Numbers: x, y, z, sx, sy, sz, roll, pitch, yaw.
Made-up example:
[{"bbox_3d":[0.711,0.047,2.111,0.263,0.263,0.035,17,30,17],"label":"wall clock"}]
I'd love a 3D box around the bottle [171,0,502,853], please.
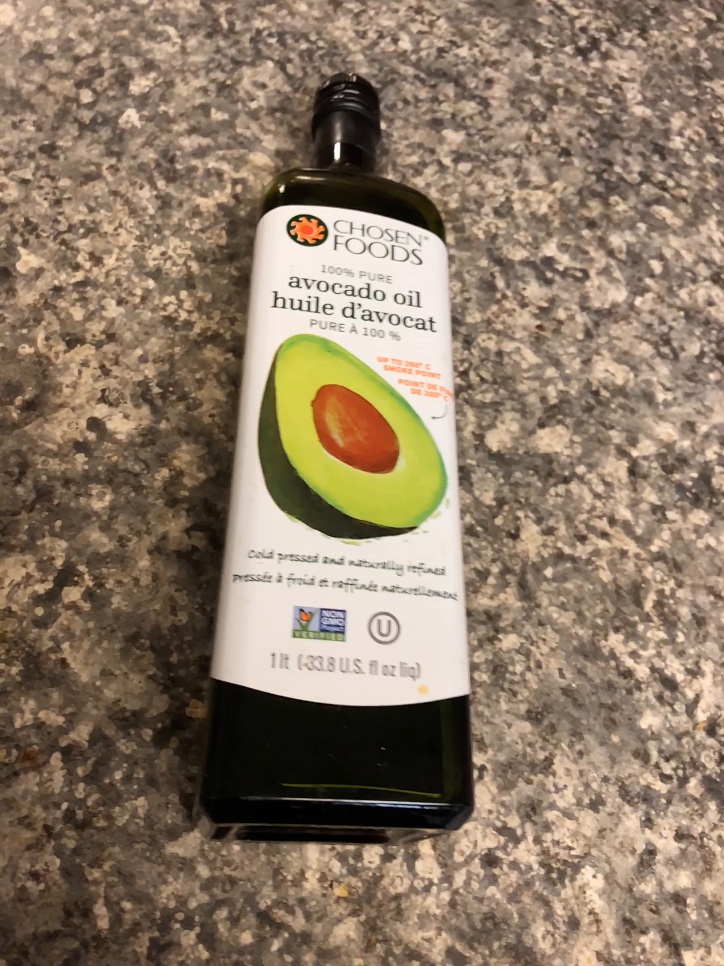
[{"bbox_3d":[-0.008,-0.043,0.294,0.080,0.070,0.321,6,63,-10],"label":"bottle"}]
